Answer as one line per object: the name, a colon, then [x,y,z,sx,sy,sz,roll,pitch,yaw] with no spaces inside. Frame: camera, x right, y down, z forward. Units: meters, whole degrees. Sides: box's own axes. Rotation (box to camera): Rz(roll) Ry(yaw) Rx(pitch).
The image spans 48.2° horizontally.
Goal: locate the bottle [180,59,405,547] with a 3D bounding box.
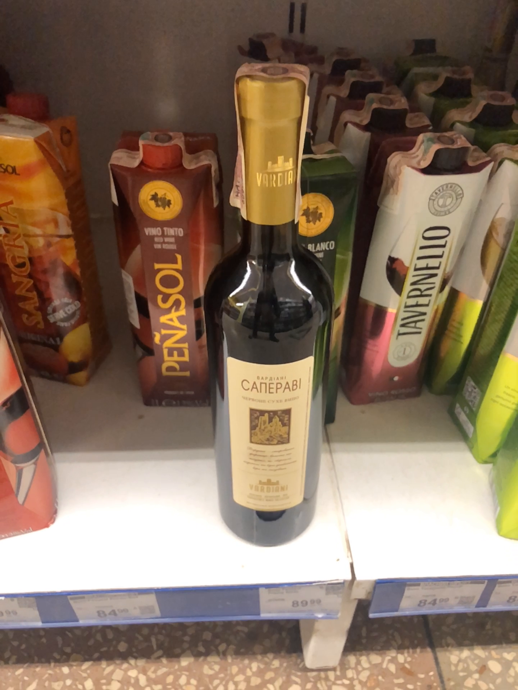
bottle: [0.007,0.003,0.322,0.080,0.281,0.070,1,40,-2]
